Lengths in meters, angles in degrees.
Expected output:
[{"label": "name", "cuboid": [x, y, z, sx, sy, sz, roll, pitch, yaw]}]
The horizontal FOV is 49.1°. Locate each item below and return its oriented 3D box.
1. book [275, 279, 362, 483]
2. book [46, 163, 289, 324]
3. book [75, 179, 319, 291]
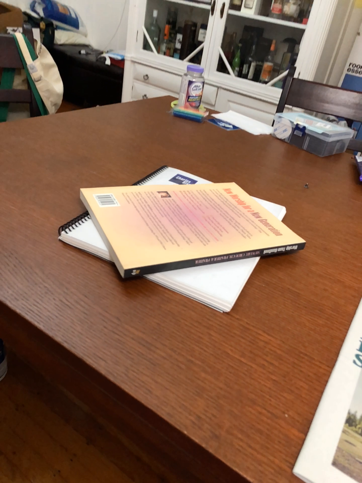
[{"label": "book", "cuboid": [0.220, 0.140, 0.331, 0.200, 0.010, 0.271, 26, 35, 23]}, {"label": "book", "cuboid": [0.006, -0.027, 0.546, 0.230, 0.020, 0.292, 21, 33, 16]}, {"label": "book", "cuboid": [0.017, -0.026, 0.516, 0.261, 0.020, 0.191, -7, 36, -27]}]
